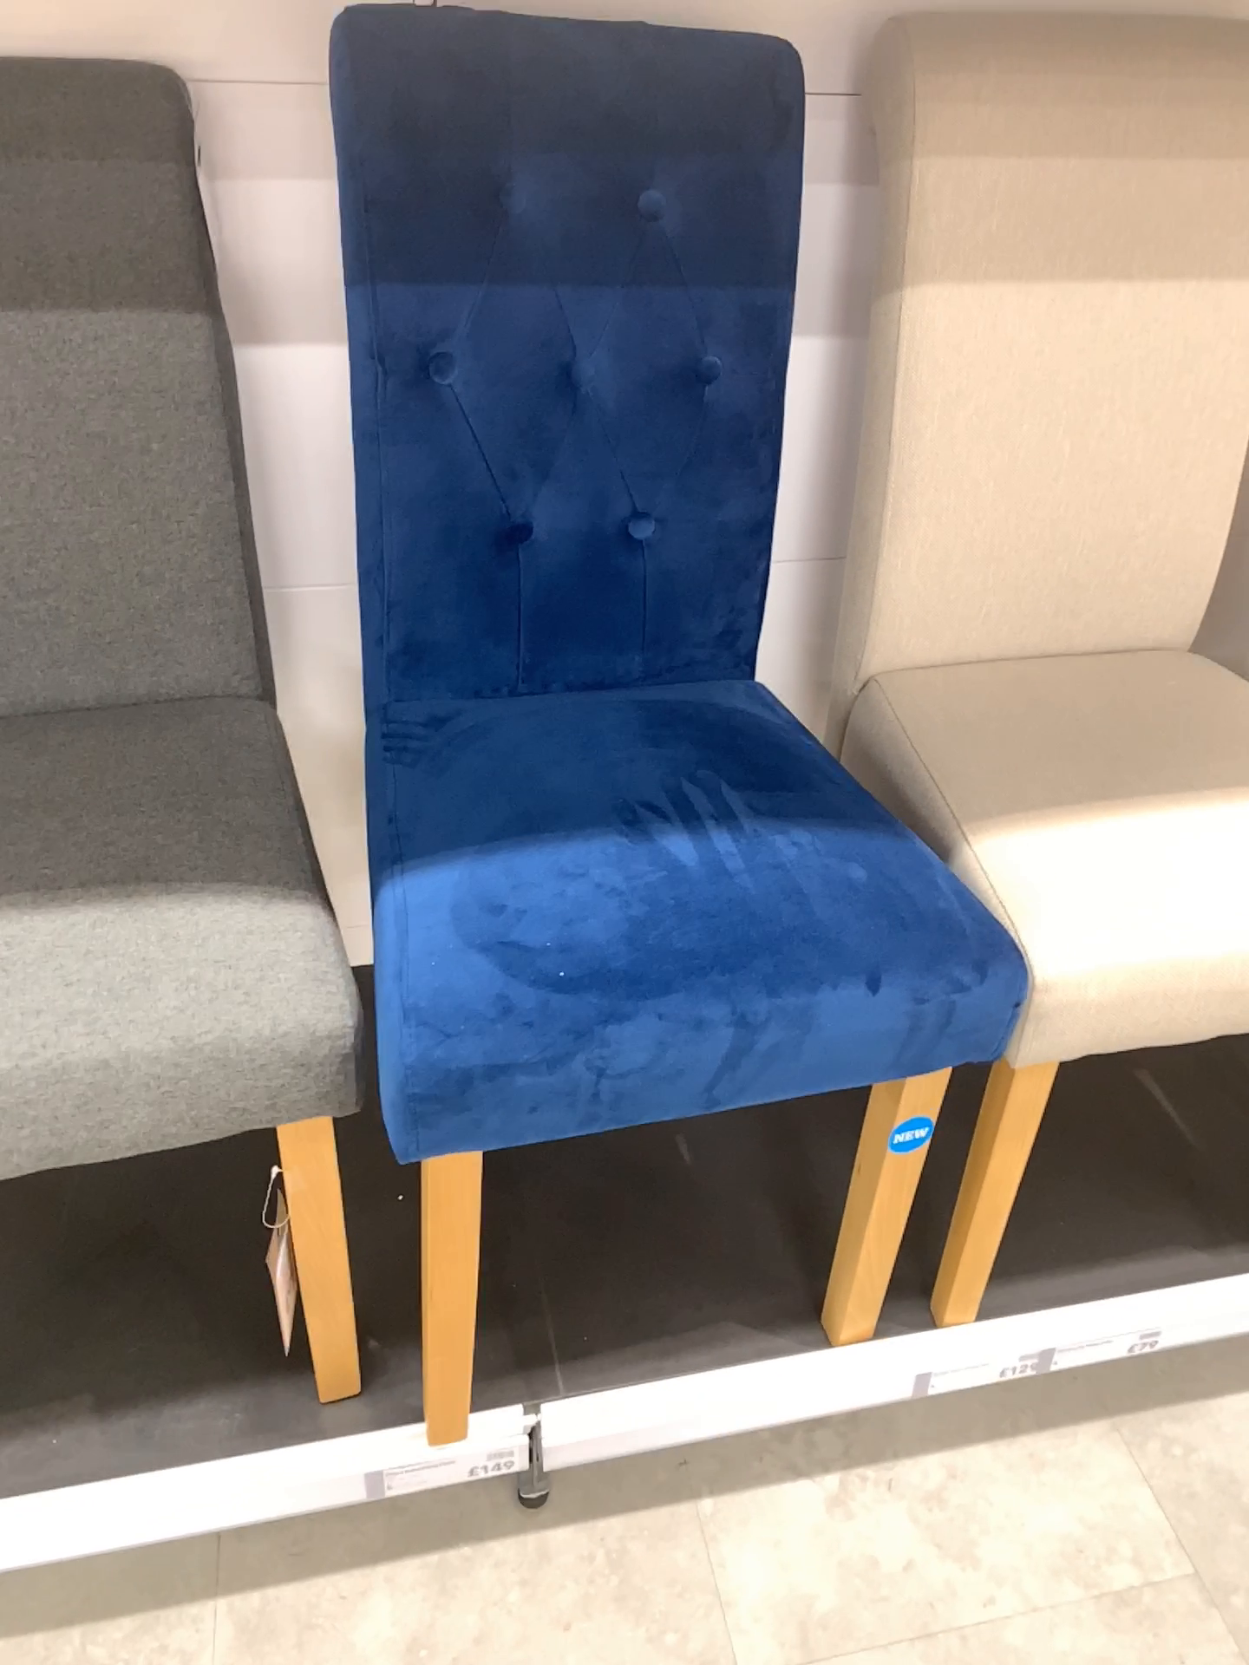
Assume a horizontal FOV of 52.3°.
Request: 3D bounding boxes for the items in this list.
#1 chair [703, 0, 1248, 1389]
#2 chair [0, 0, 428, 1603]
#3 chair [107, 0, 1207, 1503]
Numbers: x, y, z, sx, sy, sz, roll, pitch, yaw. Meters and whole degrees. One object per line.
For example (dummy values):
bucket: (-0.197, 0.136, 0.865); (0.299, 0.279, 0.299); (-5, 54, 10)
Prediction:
chair: (0.423, -0.161, 1.174); (0.489, 1.035, 0.673); (-6, 30, -12)
chair: (-0.464, -0.068, 1.019); (0.489, 1.025, 0.673); (-6, 30, -12)
chair: (-0.046, -0.110, 1.085); (0.489, 1.035, 0.673); (-6, 30, -12)
